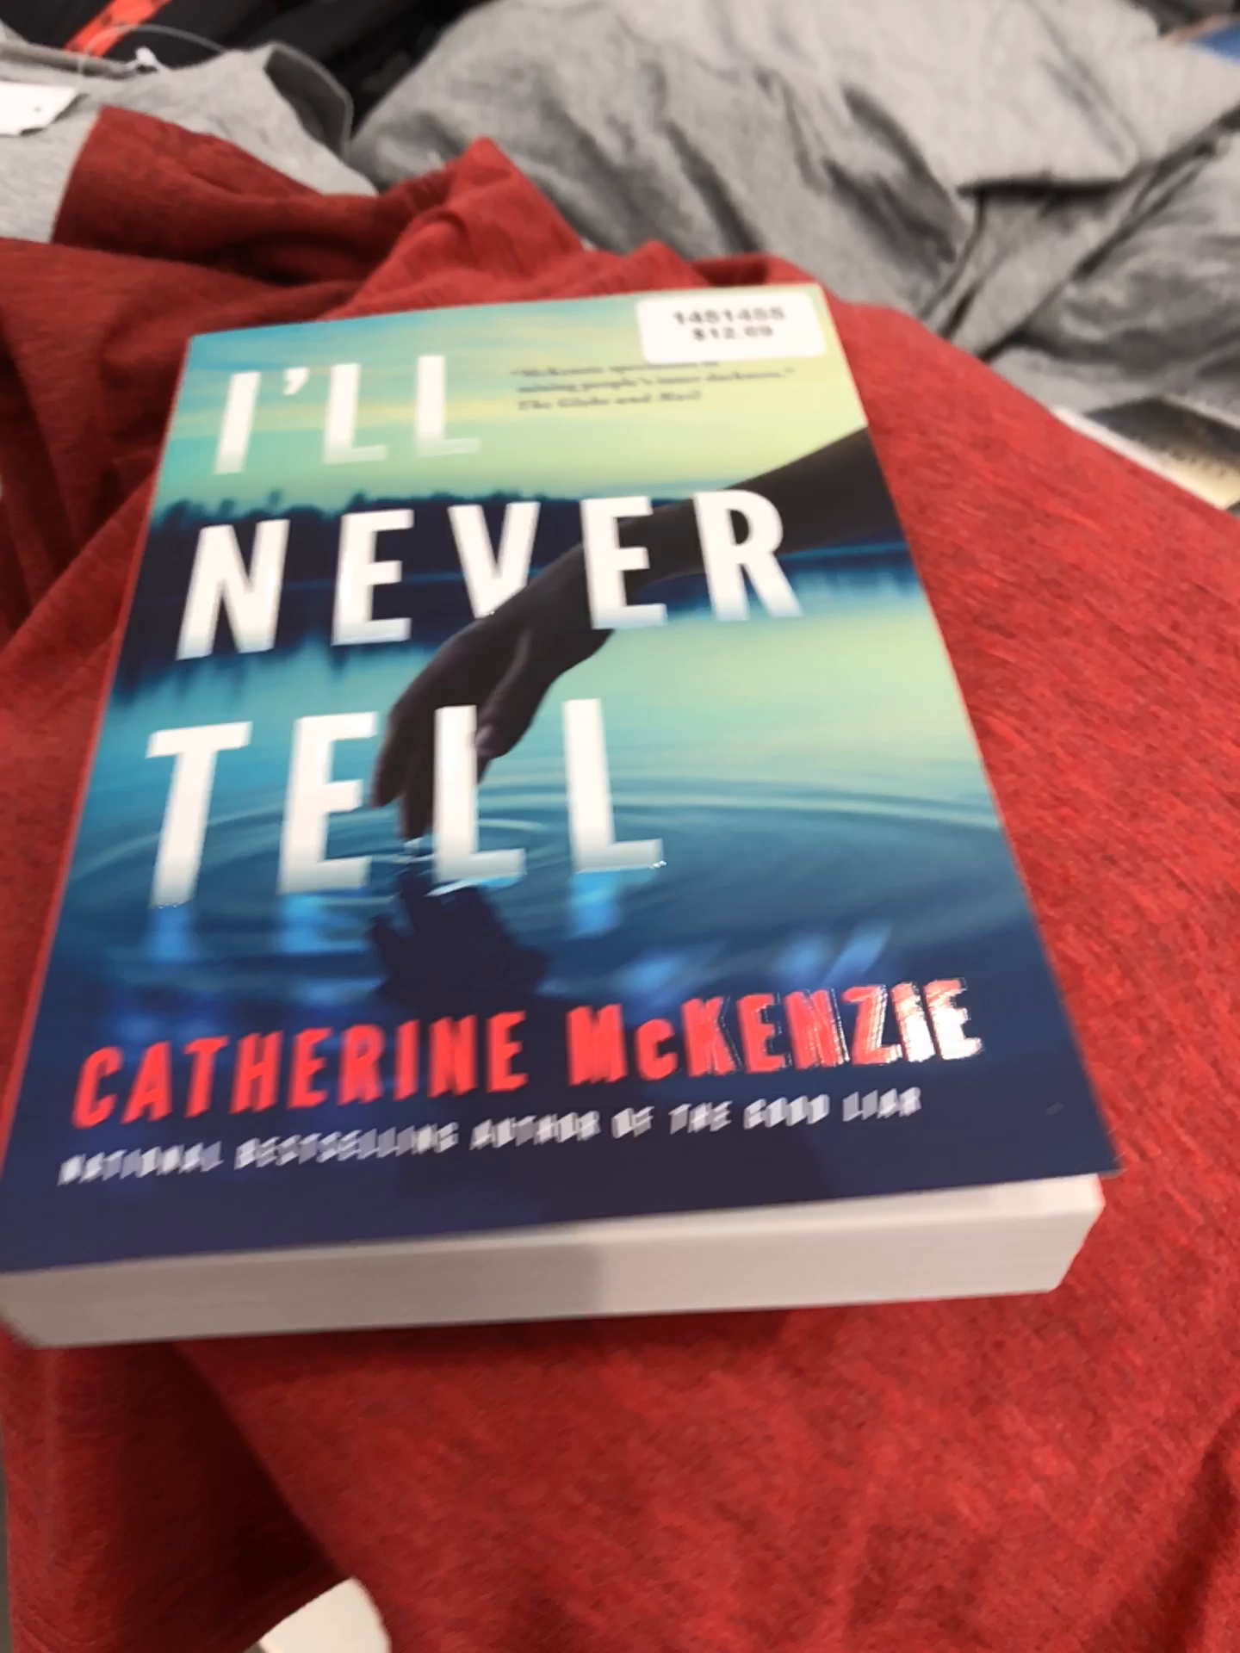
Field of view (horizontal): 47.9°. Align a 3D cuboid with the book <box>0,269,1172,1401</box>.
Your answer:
[{"bbox_3d":[-0.017,-0.022,0.235,0.143,0.032,0.209,-5,49,-2],"label":"book"}]
